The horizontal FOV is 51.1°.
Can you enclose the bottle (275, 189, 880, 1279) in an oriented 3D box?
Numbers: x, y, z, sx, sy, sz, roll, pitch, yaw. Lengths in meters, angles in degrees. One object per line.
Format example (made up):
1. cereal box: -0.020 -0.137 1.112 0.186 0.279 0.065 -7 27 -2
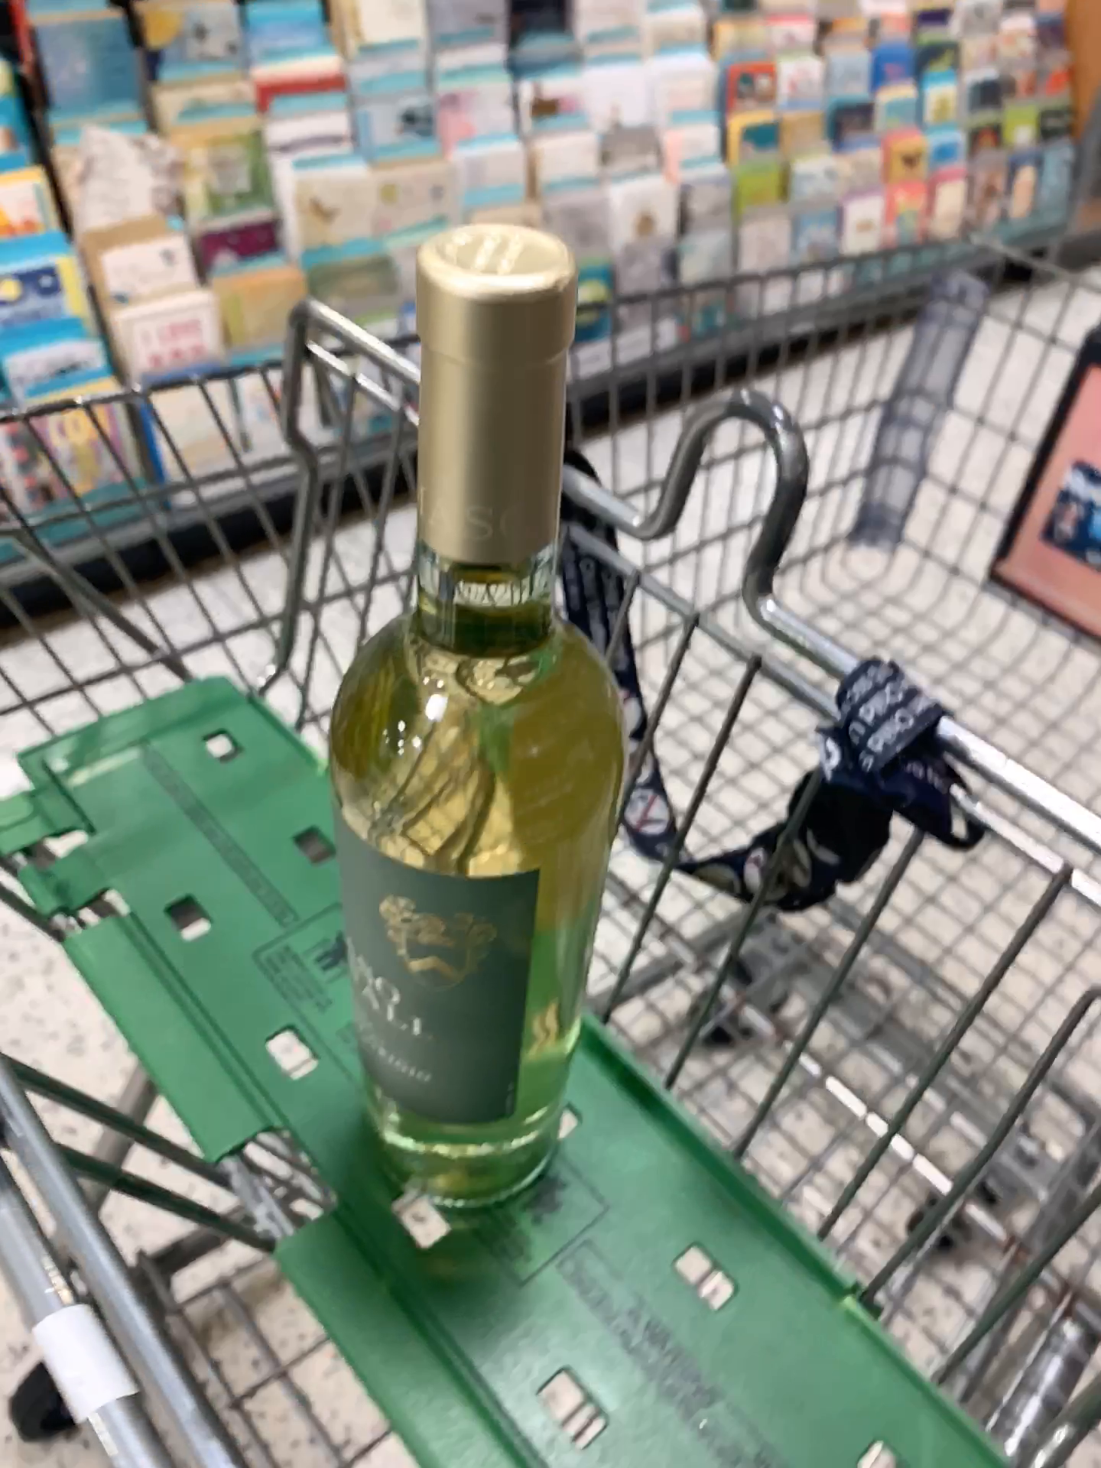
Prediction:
1. bottle: -0.008 0.034 0.341 0.090 0.336 0.081 -23 50 -27
